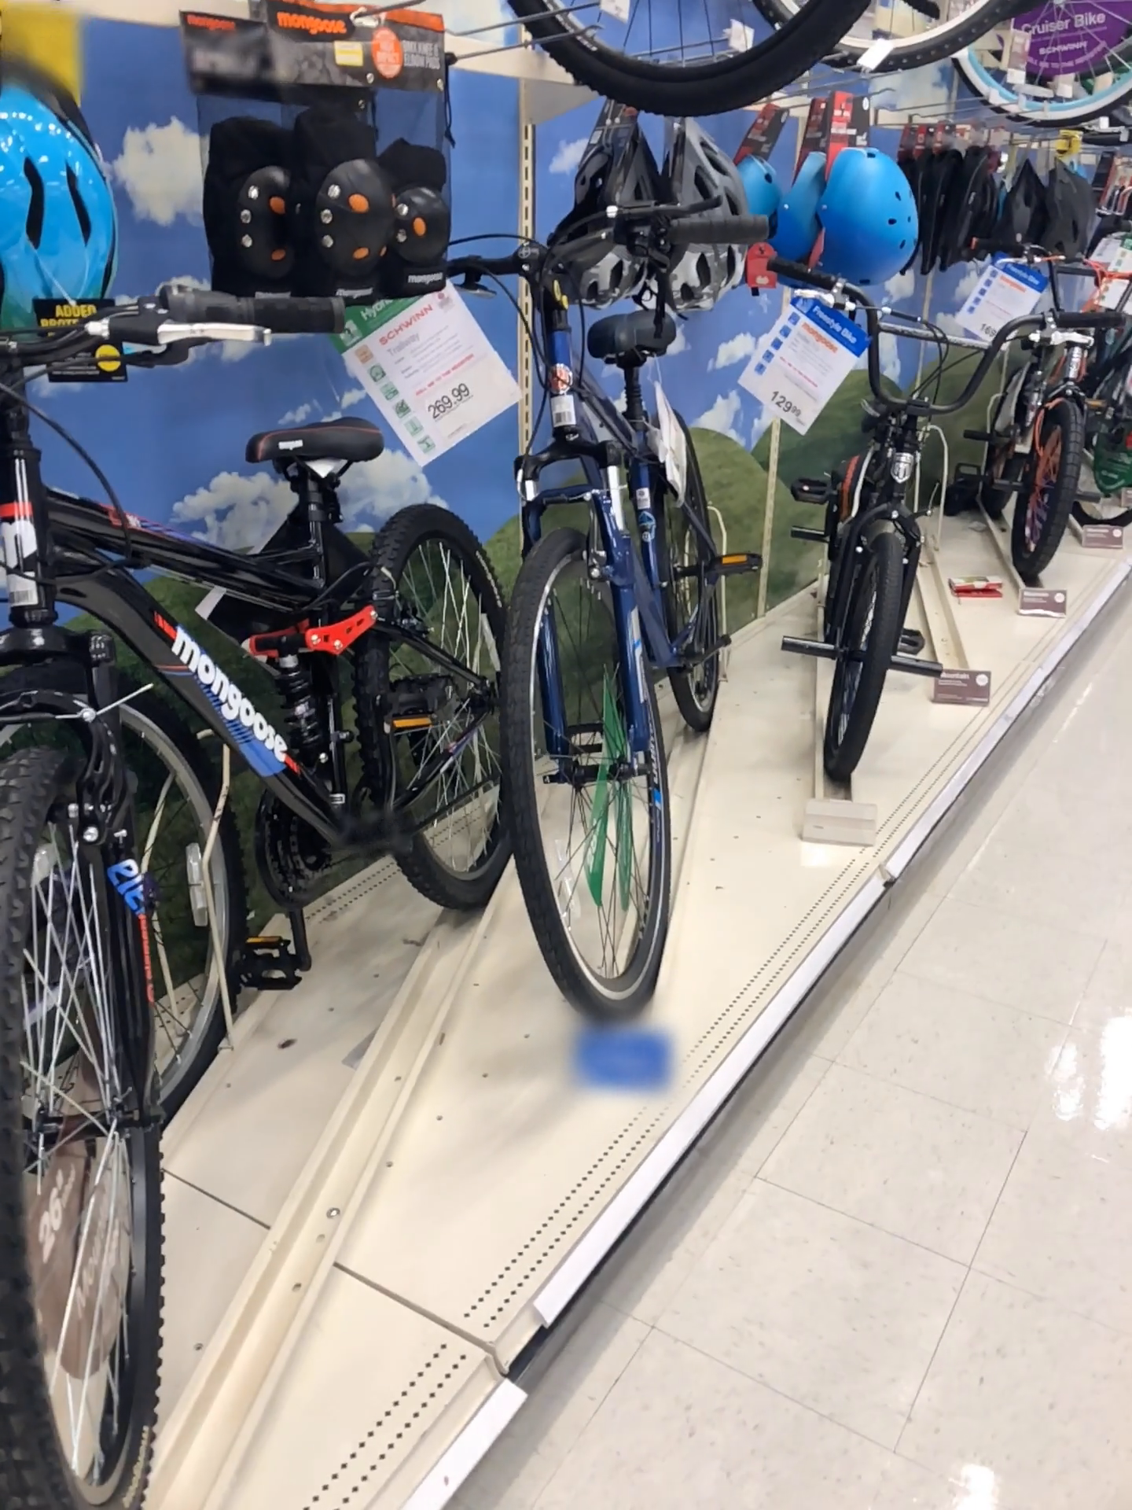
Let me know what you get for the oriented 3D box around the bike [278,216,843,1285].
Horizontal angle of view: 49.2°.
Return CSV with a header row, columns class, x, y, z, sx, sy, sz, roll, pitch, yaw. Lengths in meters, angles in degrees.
class,x,y,z,sx,sy,sz,roll,pitch,yaw
bike,0.136,-0.270,2.113,0.529,1.098,1.747,4,26,10
